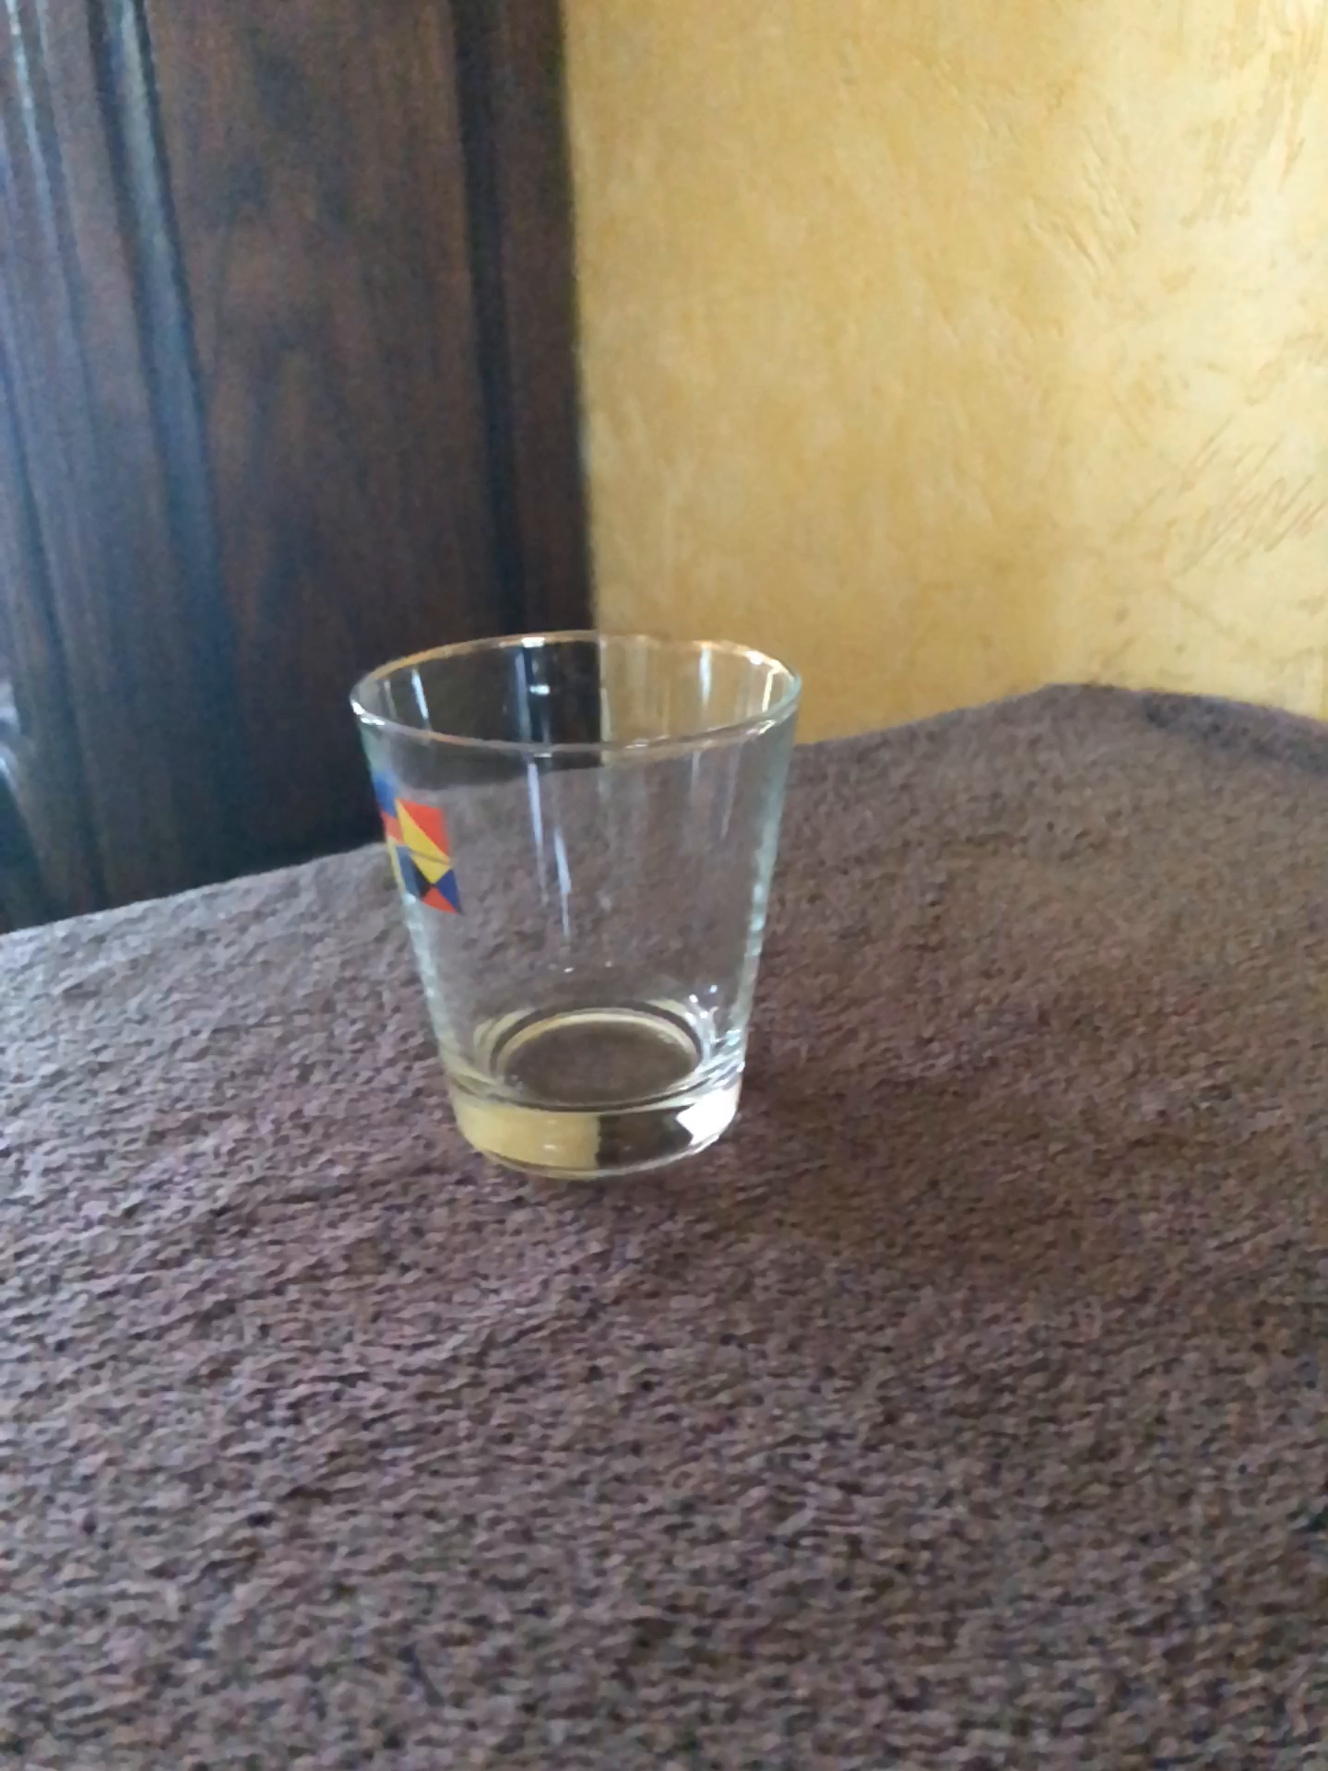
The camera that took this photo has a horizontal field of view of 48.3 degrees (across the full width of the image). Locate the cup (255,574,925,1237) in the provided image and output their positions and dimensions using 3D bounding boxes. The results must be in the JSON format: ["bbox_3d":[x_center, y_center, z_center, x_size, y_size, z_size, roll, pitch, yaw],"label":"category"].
[{"bbox_3d":[-0.012,-0.005,0.263,0.080,0.080,0.080,-2,22,1],"label":"cup"}]
